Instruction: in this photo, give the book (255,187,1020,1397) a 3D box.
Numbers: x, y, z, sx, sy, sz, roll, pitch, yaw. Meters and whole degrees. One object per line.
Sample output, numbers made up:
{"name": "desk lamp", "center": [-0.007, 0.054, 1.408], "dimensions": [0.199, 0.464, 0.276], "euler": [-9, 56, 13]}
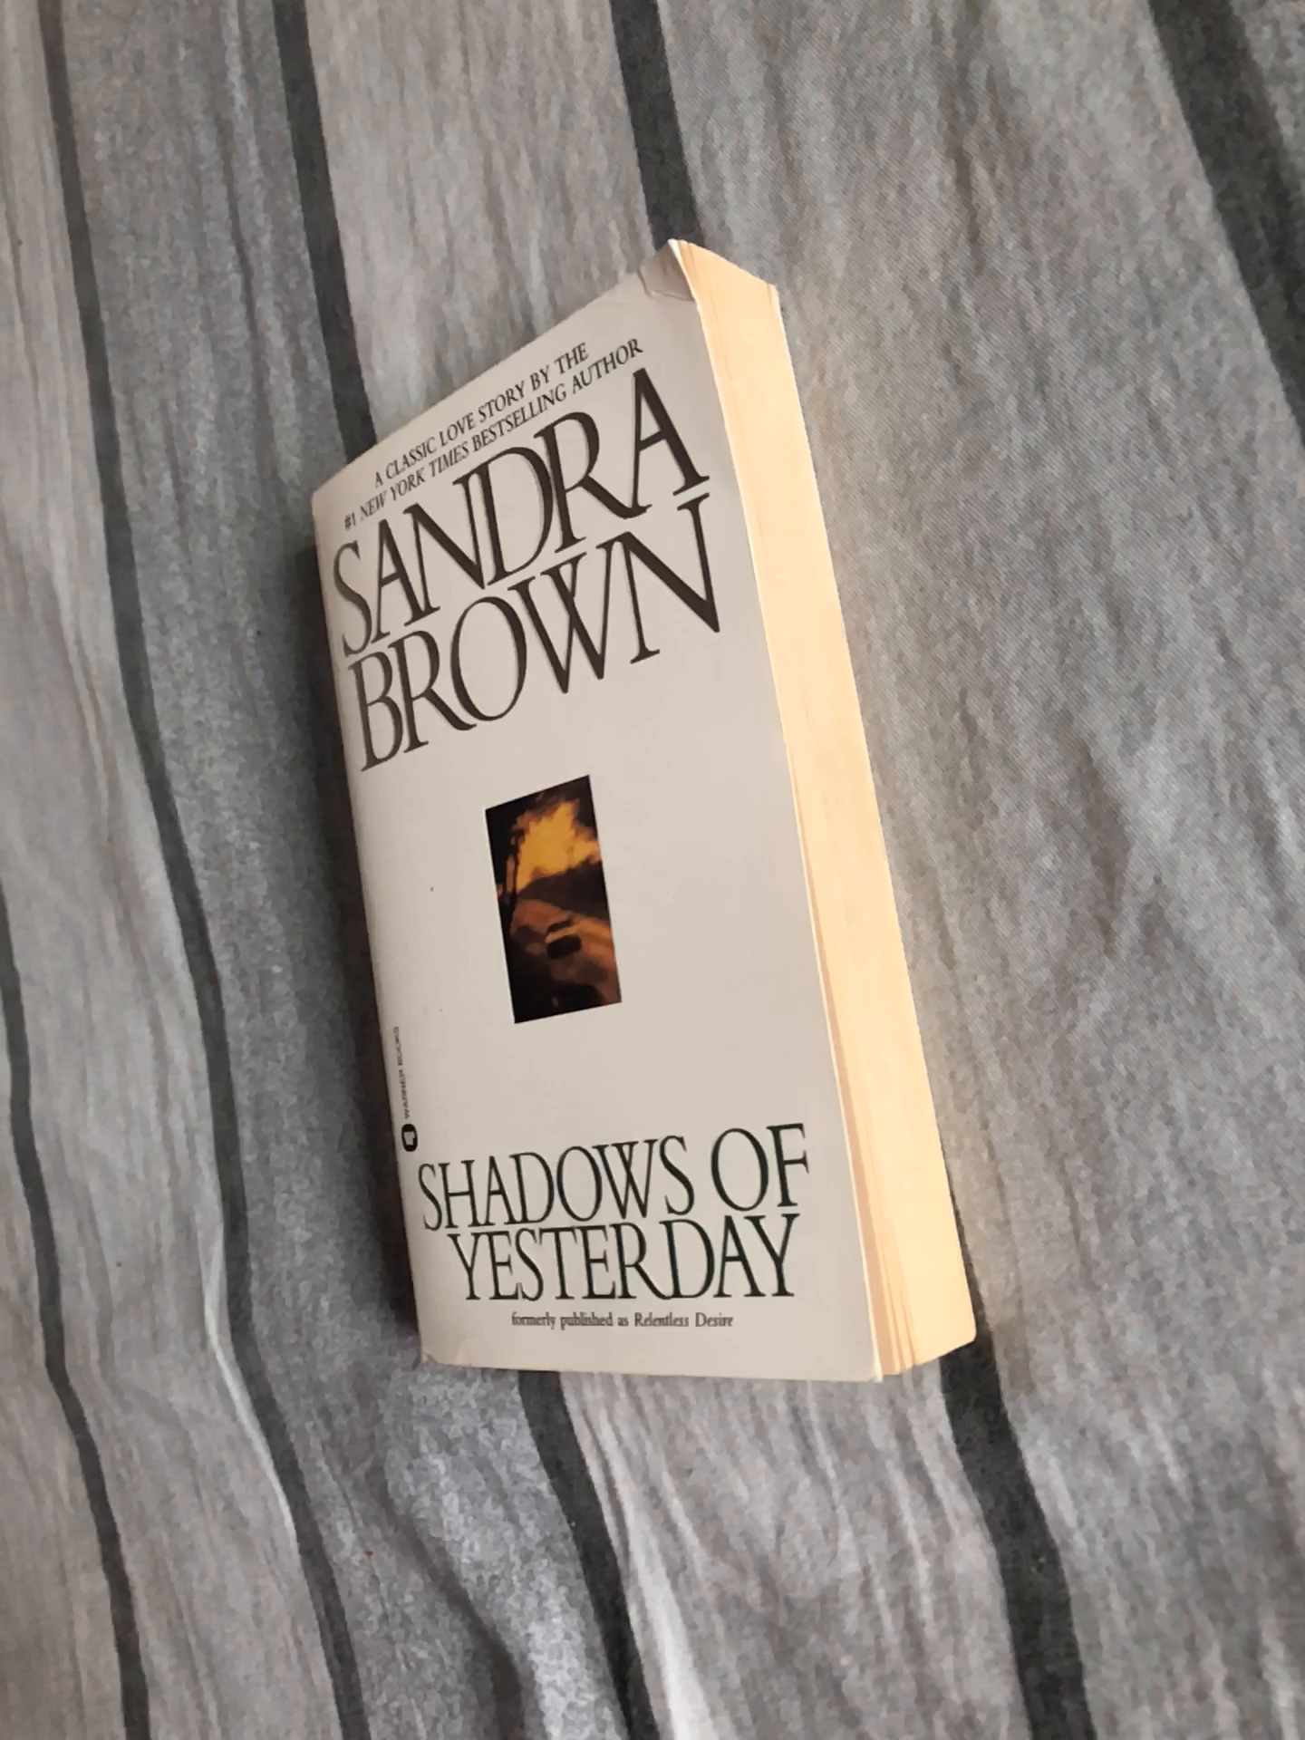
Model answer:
{"name": "book", "center": [-0.012, -0.005, 0.258], "dimensions": [0.121, 0.030, 0.180], "euler": [-13, 82, 37]}
